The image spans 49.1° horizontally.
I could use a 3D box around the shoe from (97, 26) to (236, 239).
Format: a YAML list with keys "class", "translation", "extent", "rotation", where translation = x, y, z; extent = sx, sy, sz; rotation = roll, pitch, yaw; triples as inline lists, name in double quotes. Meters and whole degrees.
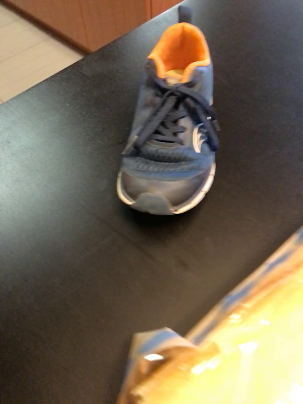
- class: "shoe"
  translation: [0.023, -0.072, 0.302]
  extent: [0.084, 0.072, 0.187]
  rotation: [9, 57, 7]
